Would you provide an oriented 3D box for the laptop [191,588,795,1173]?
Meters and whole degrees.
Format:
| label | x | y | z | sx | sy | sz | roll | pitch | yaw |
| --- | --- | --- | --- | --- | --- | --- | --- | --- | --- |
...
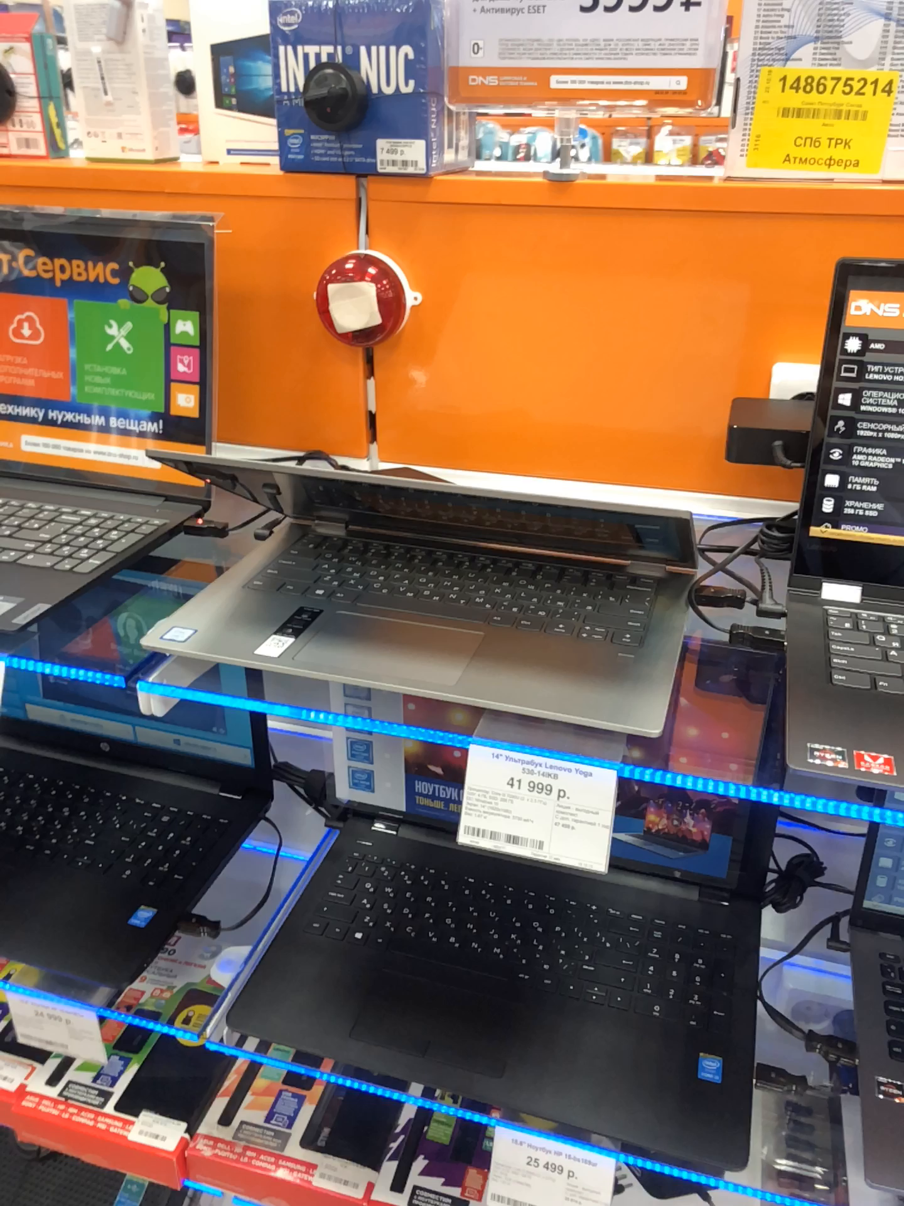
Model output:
| label | x | y | z | sx | sy | sz | roll | pitch | yaw |
| --- | --- | --- | --- | --- | --- | --- | --- | --- | --- |
| laptop | 0.044 | 0.170 | 0.731 | 0.361 | 0.223 | 0.261 | 8 | 28 | 16 |

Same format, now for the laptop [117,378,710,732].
| label | x | y | z | sx | sy | sz | roll | pitch | yaw |
| --- | --- | --- | --- | --- | --- | --- | --- | --- | --- |
| laptop | -0.010 | -0.050 | 0.635 | 0.313 | 0.110 | 0.211 | 9 | 28 | 15 |

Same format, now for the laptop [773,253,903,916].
| label | x | y | z | sx | sy | sz | roll | pitch | yaw |
| --- | --- | --- | --- | --- | --- | --- | --- | --- | --- |
| laptop | 0.362 | -0.044 | 0.516 | 0.327 | 0.210 | 0.247 | 8 | 28 | 13 |

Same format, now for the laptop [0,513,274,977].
| label | x | y | z | sx | sy | sz | roll | pitch | yaw |
| --- | --- | --- | --- | --- | --- | --- | --- | --- | --- |
| laptop | -0.374 | 0.100 | 0.845 | 0.332 | 0.222 | 0.244 | 9 | 30 | 15 |

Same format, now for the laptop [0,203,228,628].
| label | x | y | z | sx | sy | sz | roll | pitch | yaw |
| --- | --- | --- | --- | --- | --- | --- | --- | --- | --- |
| laptop | -0.392 | -0.160 | 0.727 | 0.329 | 0.219 | 0.277 | 8 | 27 | 14 |

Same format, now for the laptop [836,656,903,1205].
| label | x | y | z | sx | sy | sz | roll | pitch | yaw |
| --- | --- | --- | --- | --- | --- | --- | --- | --- | --- |
| laptop | 0.444 | 0.219 | 0.610 | 0.329 | 0.228 | 0.236 | 7 | 28 | 14 |
